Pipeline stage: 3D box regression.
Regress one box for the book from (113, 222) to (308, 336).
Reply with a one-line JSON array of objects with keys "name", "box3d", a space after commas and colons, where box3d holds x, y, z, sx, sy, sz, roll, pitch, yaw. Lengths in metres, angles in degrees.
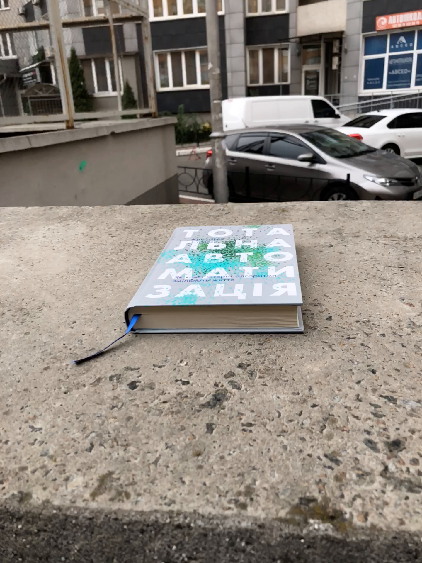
[{"name": "book", "box3d": [0.010, -0.014, 0.473, 0.156, 0.030, 0.222, -1, 23, 7]}]
